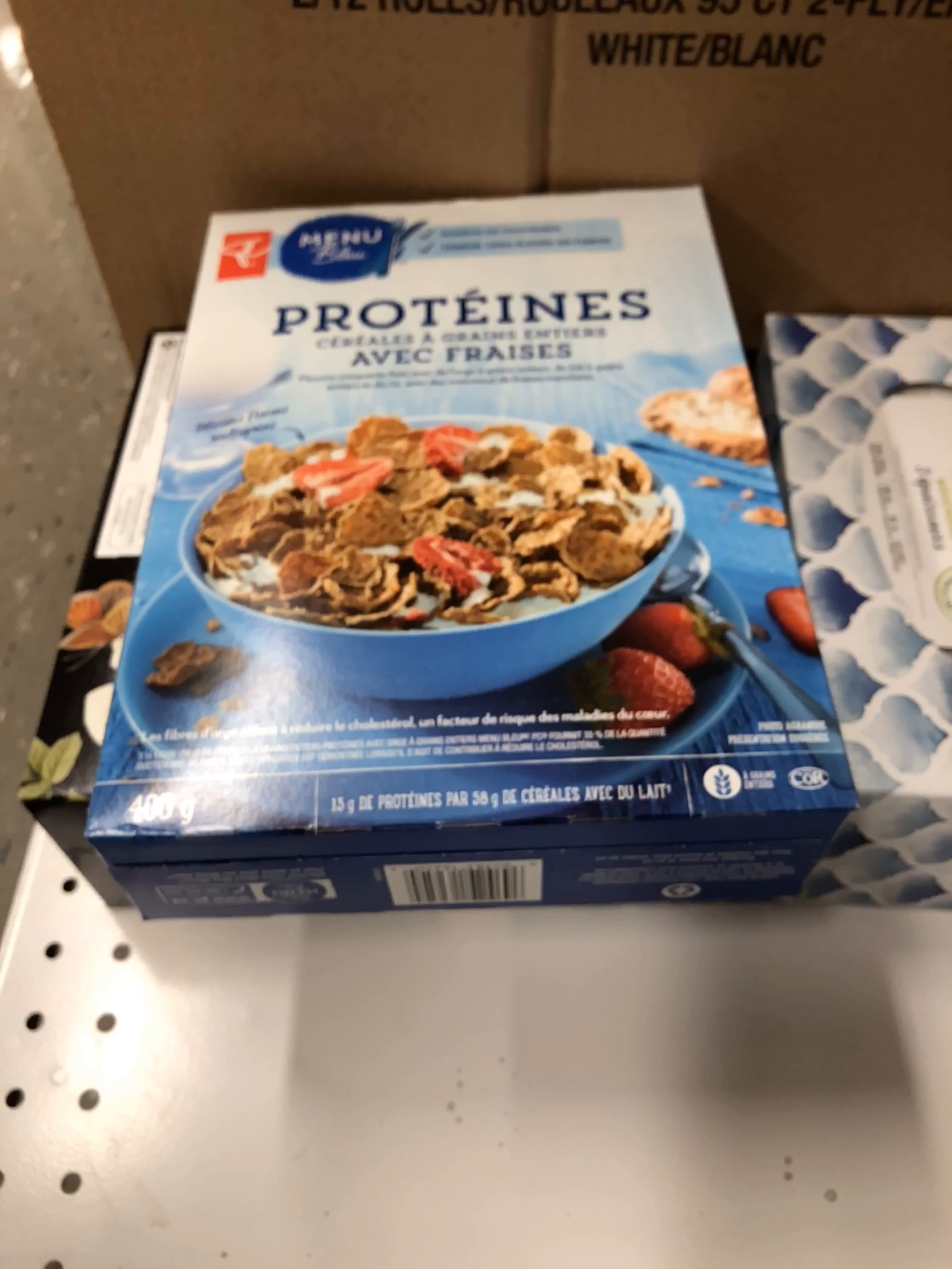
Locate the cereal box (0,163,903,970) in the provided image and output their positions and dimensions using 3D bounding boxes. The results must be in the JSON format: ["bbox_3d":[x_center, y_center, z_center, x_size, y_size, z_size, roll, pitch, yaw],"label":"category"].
[{"bbox_3d":[-0.010,-0.039,0.316,0.190,0.050,0.251,-4,54,2],"label":"cereal box"}]
